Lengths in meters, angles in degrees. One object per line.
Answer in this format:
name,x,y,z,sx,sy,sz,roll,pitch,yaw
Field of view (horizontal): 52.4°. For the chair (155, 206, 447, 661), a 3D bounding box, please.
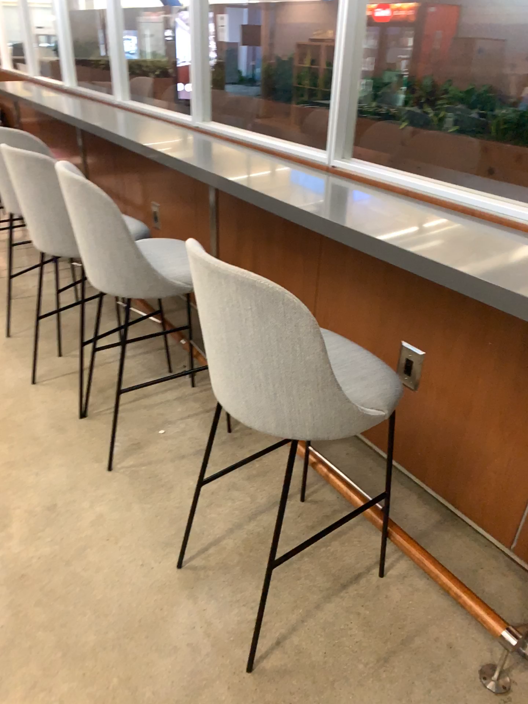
chair,0.070,0.209,1.452,0.511,1.034,0.412,-22,38,-36
